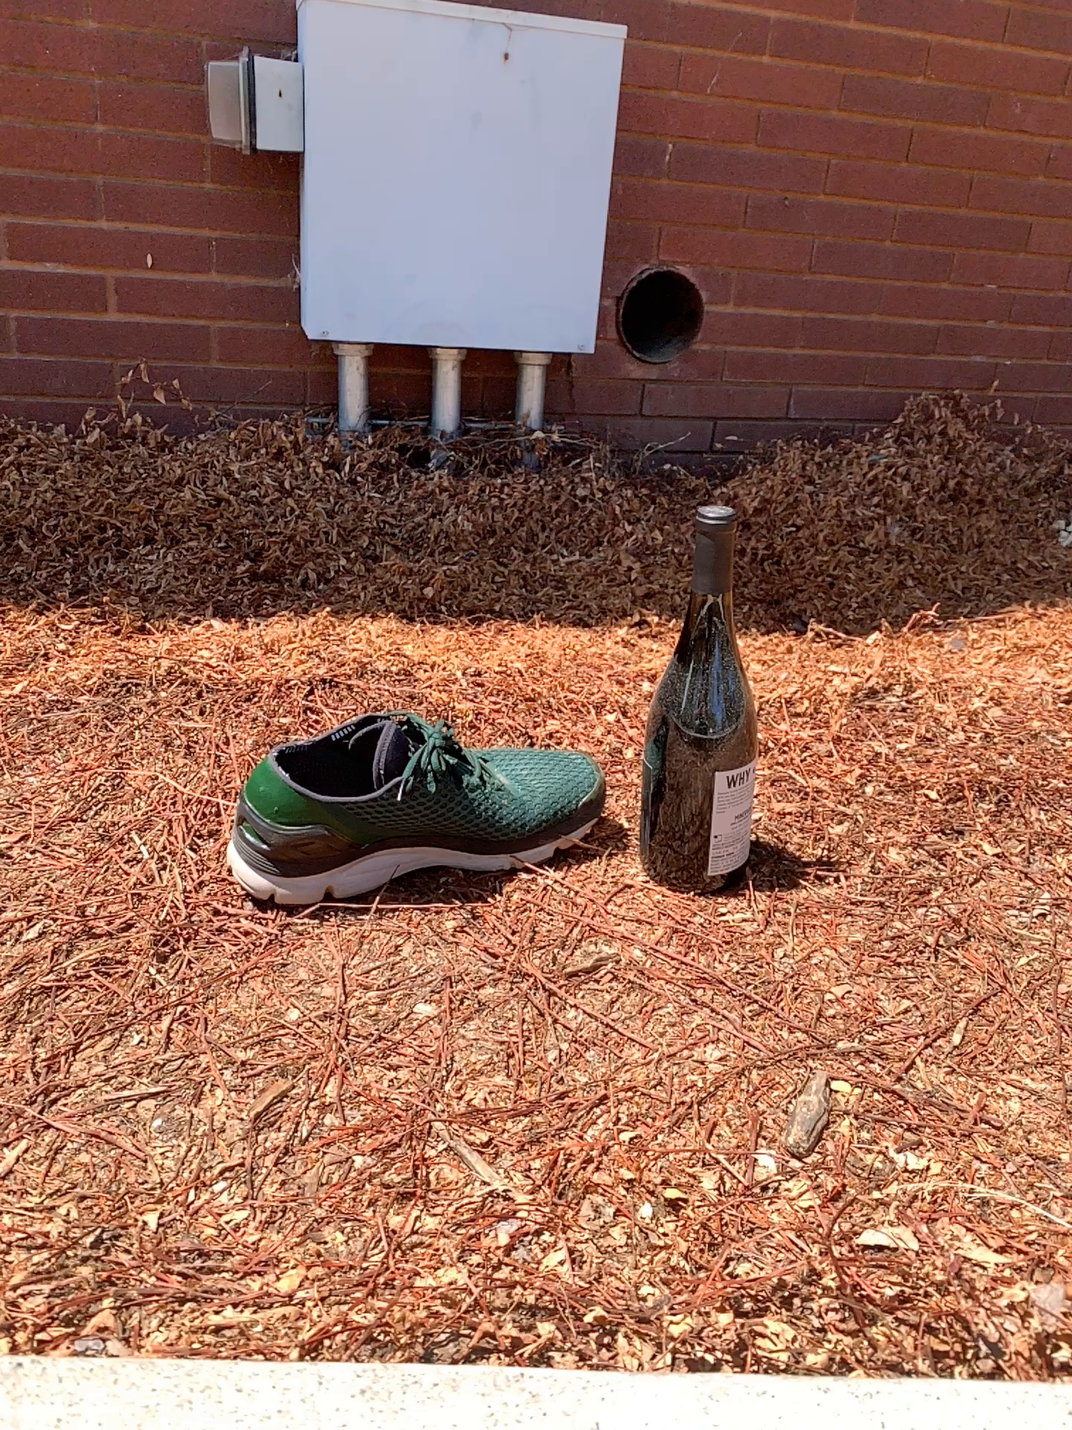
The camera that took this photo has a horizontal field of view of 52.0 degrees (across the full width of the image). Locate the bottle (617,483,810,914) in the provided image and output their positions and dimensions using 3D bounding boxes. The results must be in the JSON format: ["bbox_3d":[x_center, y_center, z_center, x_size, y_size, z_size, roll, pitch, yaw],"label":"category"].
[{"bbox_3d":[0.124,-0.013,0.787,0.090,0.279,0.100,12,25,24],"label":"bottle"}]
